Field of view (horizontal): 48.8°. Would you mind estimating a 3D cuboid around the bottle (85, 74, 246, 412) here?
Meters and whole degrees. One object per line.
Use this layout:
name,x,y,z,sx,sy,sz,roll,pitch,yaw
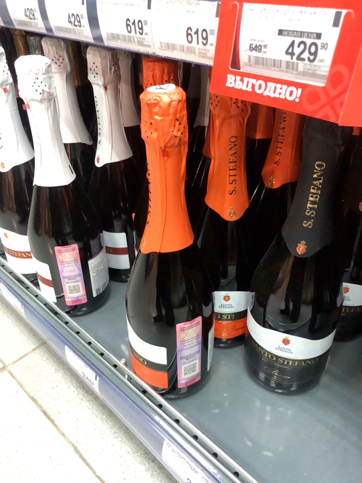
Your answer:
bottle,-0.013,0.017,0.371,0.100,0.298,0.101,-1,34,1
